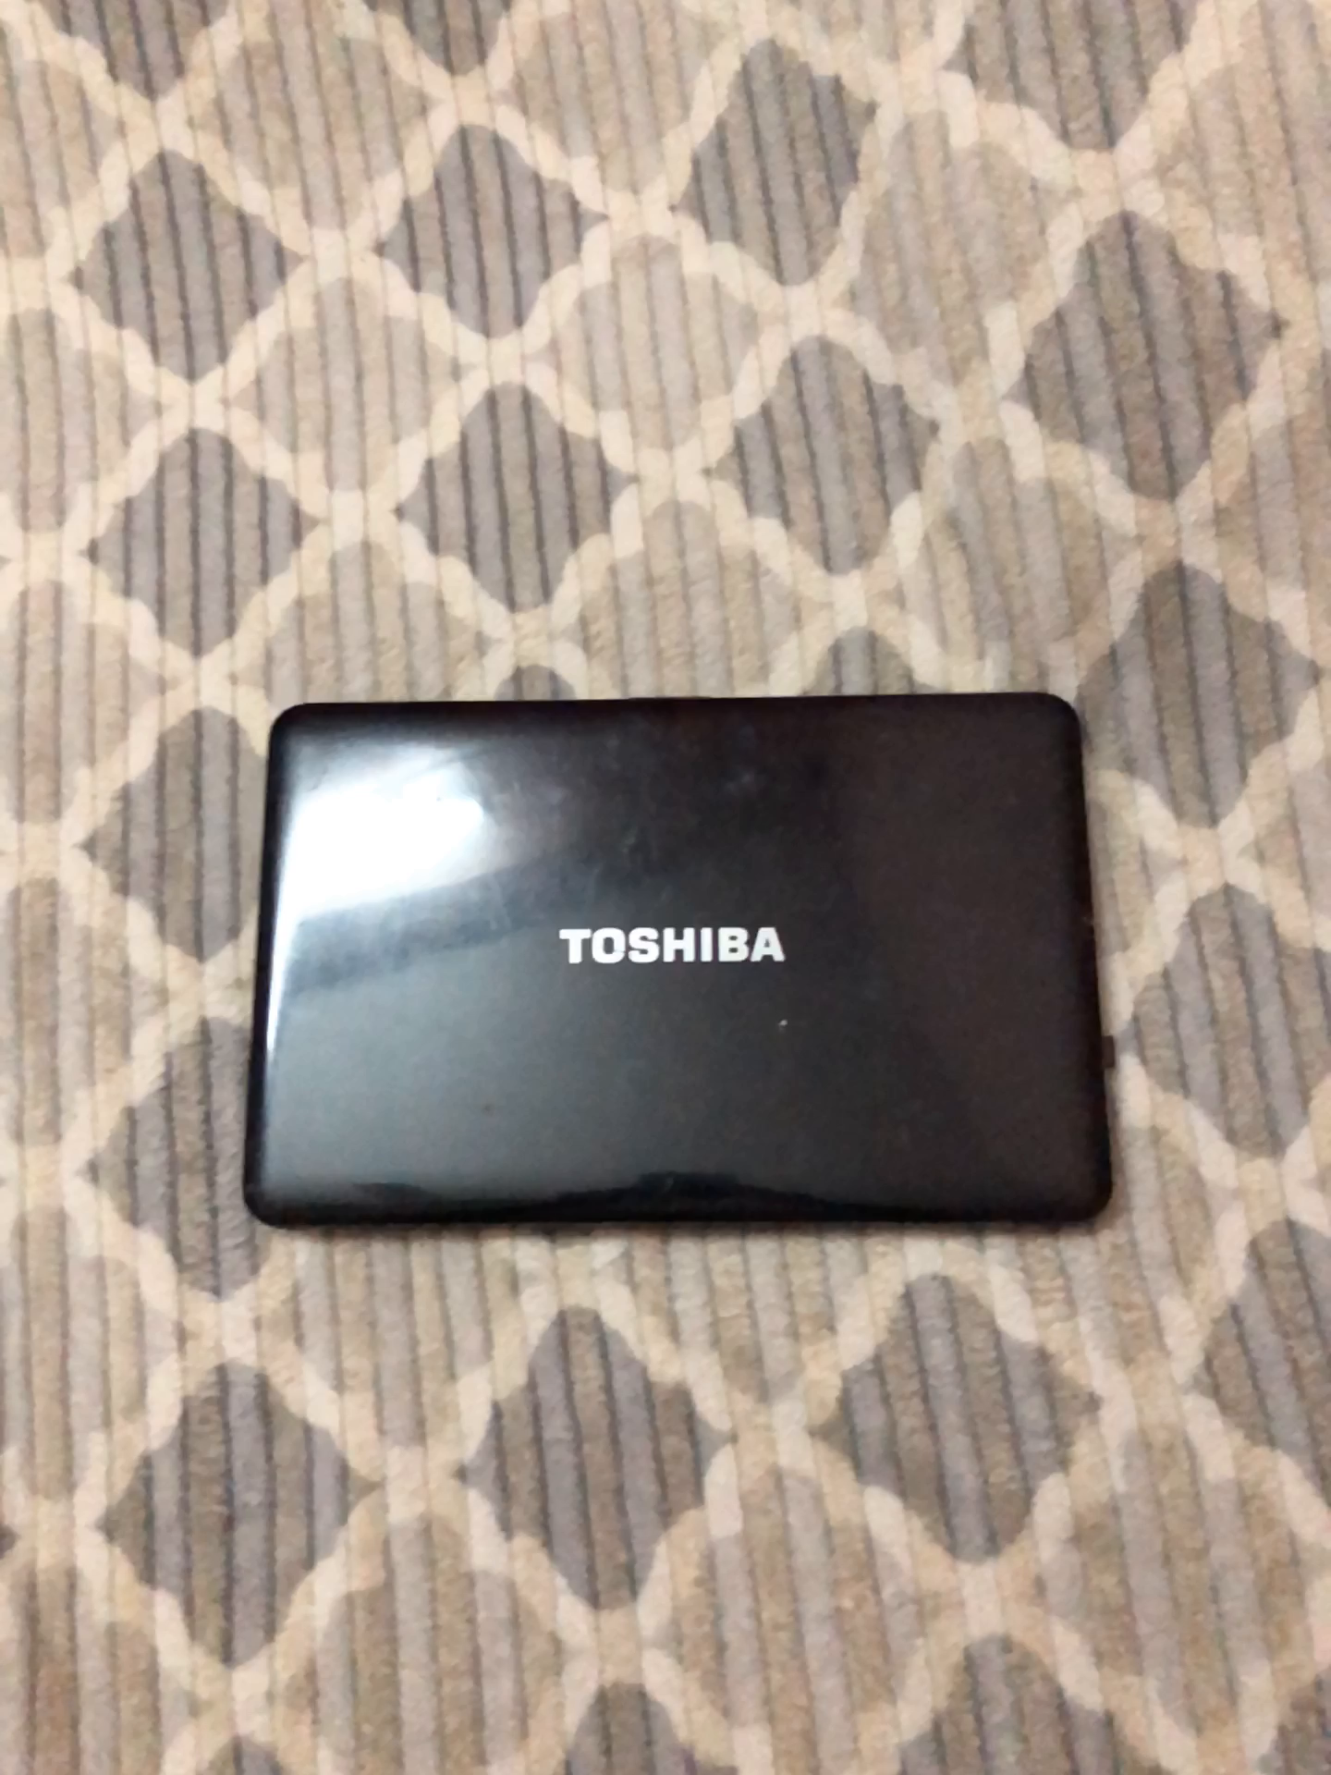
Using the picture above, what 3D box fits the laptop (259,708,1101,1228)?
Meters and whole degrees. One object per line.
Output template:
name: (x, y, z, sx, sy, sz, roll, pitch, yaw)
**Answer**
laptop: (0.002, 0.034, 0.699, 0.375, 0.023, 0.248, -1, 73, 2)
